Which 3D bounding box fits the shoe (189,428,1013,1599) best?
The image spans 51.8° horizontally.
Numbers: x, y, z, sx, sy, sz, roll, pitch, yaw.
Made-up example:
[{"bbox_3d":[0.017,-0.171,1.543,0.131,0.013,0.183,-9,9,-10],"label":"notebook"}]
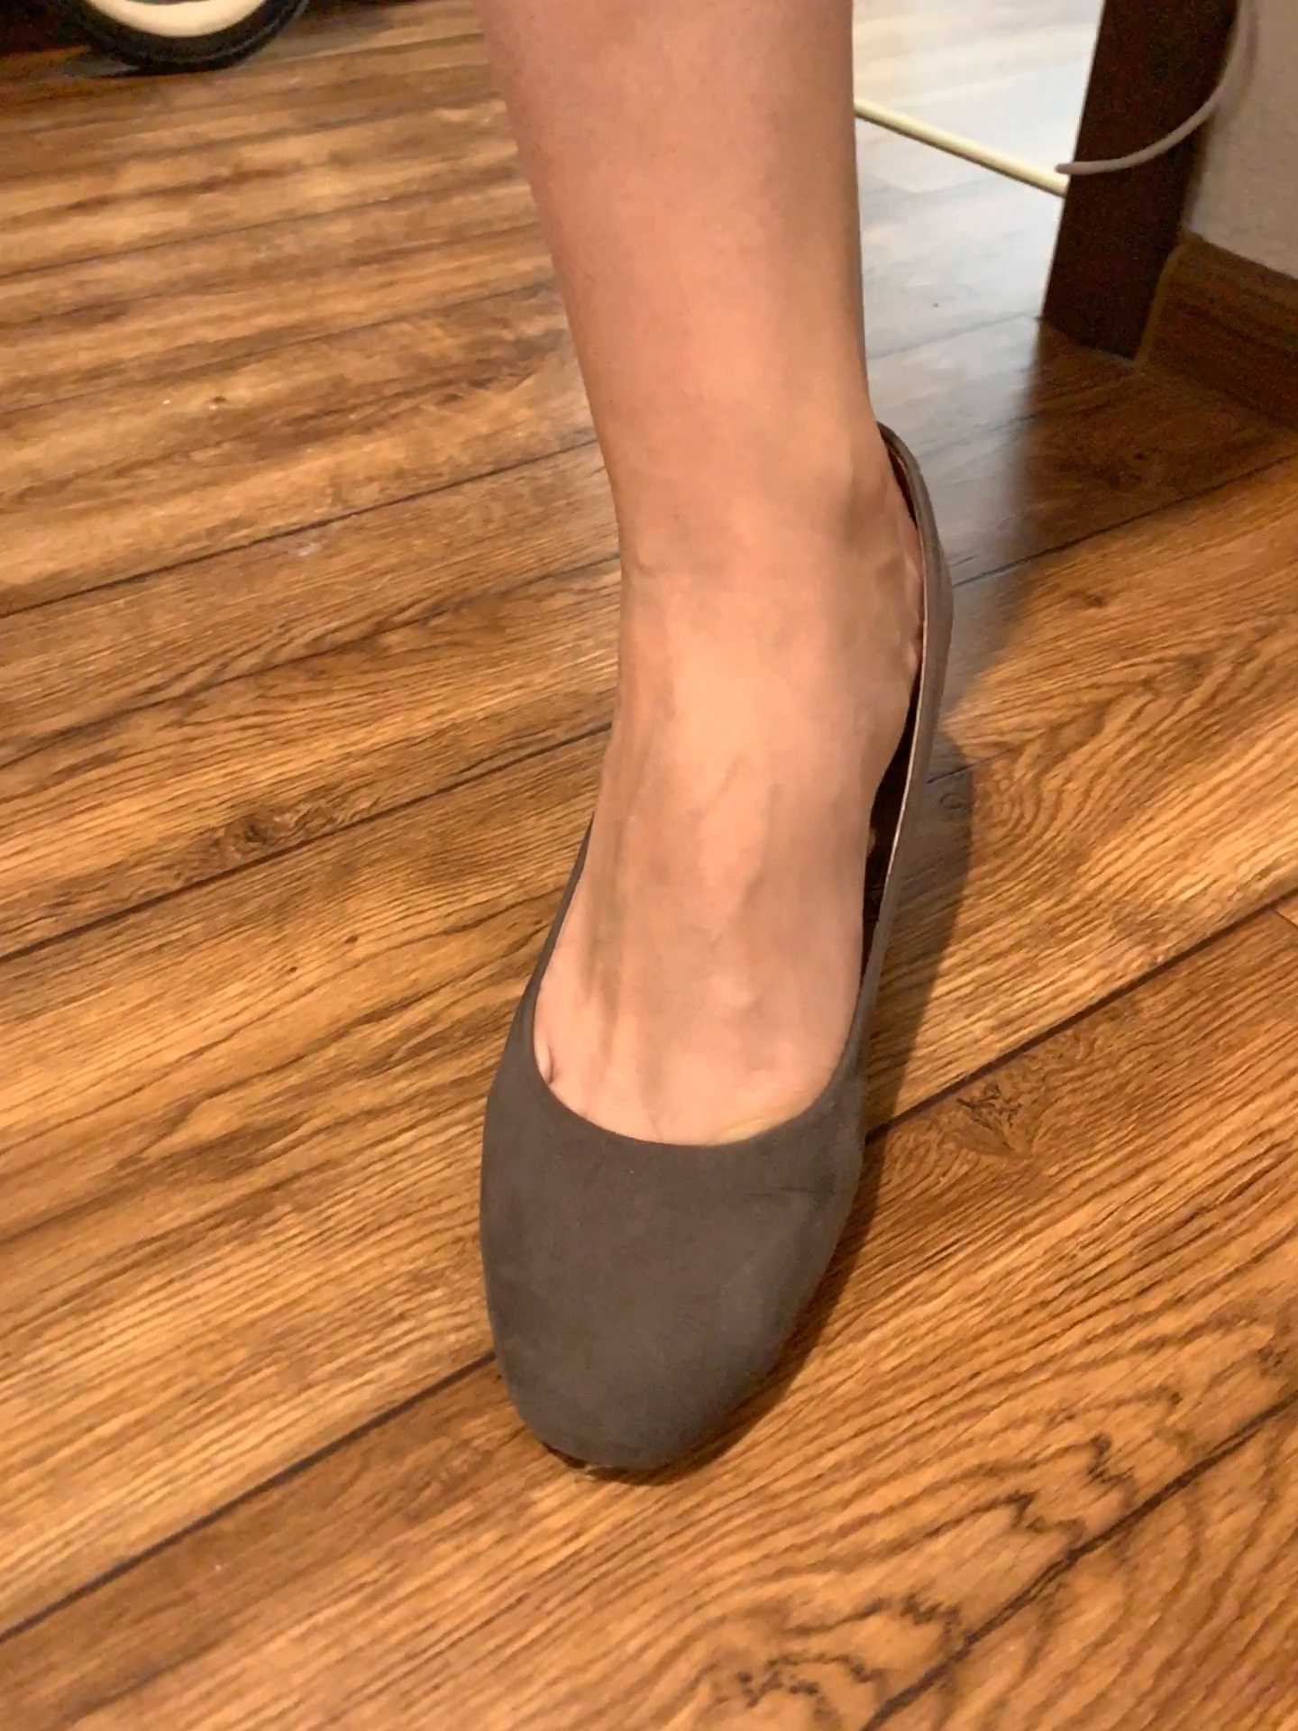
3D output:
[{"bbox_3d":[0.013,0.010,0.279,0.083,0.109,0.211,11,44,15],"label":"shoe"}]
